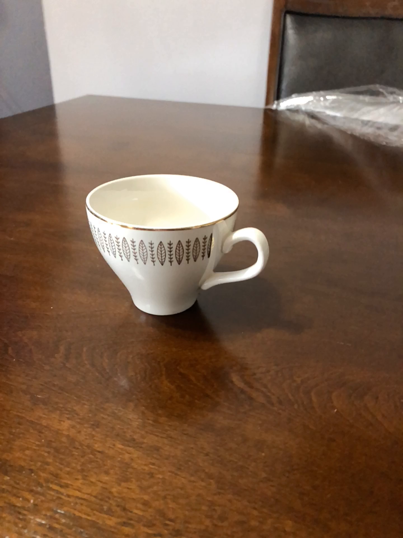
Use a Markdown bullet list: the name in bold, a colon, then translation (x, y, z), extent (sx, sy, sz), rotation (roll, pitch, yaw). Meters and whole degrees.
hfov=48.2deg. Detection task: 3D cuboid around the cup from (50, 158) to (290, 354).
- **cup**: translation (-0.012, -0.015, 0.255), extent (0.100, 0.060, 0.090), rotation (12, 30, 17)
